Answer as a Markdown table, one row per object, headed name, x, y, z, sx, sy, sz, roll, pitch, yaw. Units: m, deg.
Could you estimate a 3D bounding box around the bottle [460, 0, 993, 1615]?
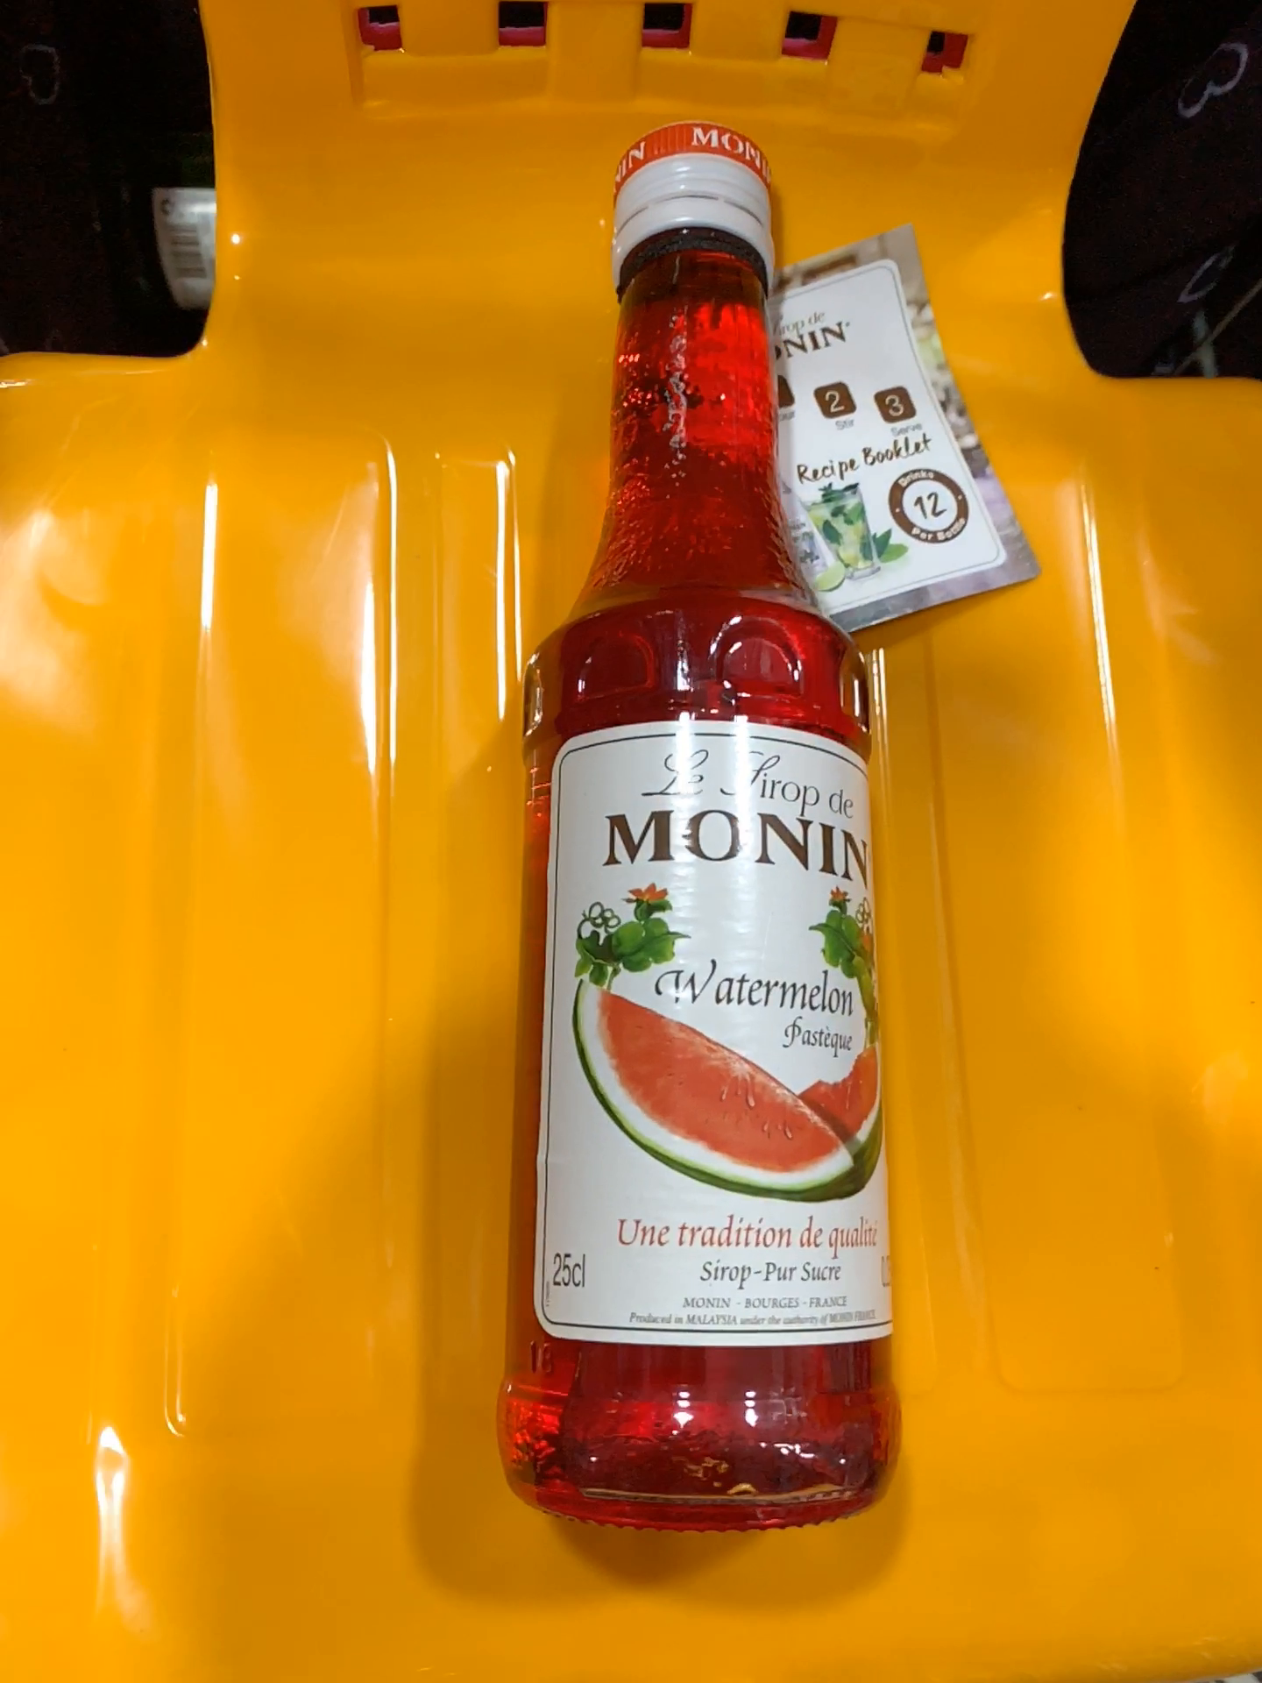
| name | x | y | z | sx | sy | sz | roll | pitch | yaw |
| --- | --- | --- | --- | --- | --- | --- | --- | --- | --- |
| bottle | 0.012 | -0.016 | 0.206 | 0.060 | 0.050 | 0.230 | 4 | 76 | -14 |
